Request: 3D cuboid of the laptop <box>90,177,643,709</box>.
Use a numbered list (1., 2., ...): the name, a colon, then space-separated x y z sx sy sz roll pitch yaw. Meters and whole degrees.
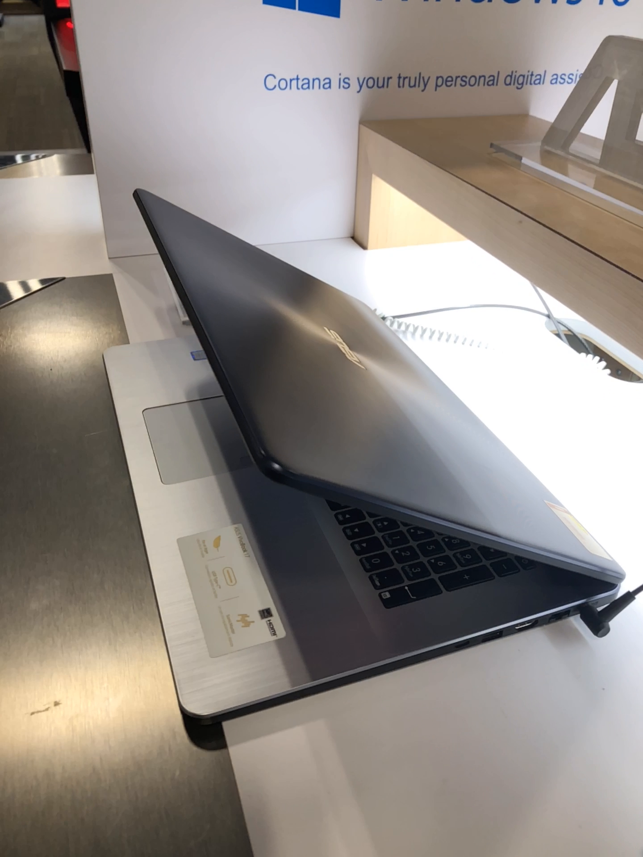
1. laptop: -0.006 -0.046 0.504 0.259 0.144 0.393 -10 36 -16
